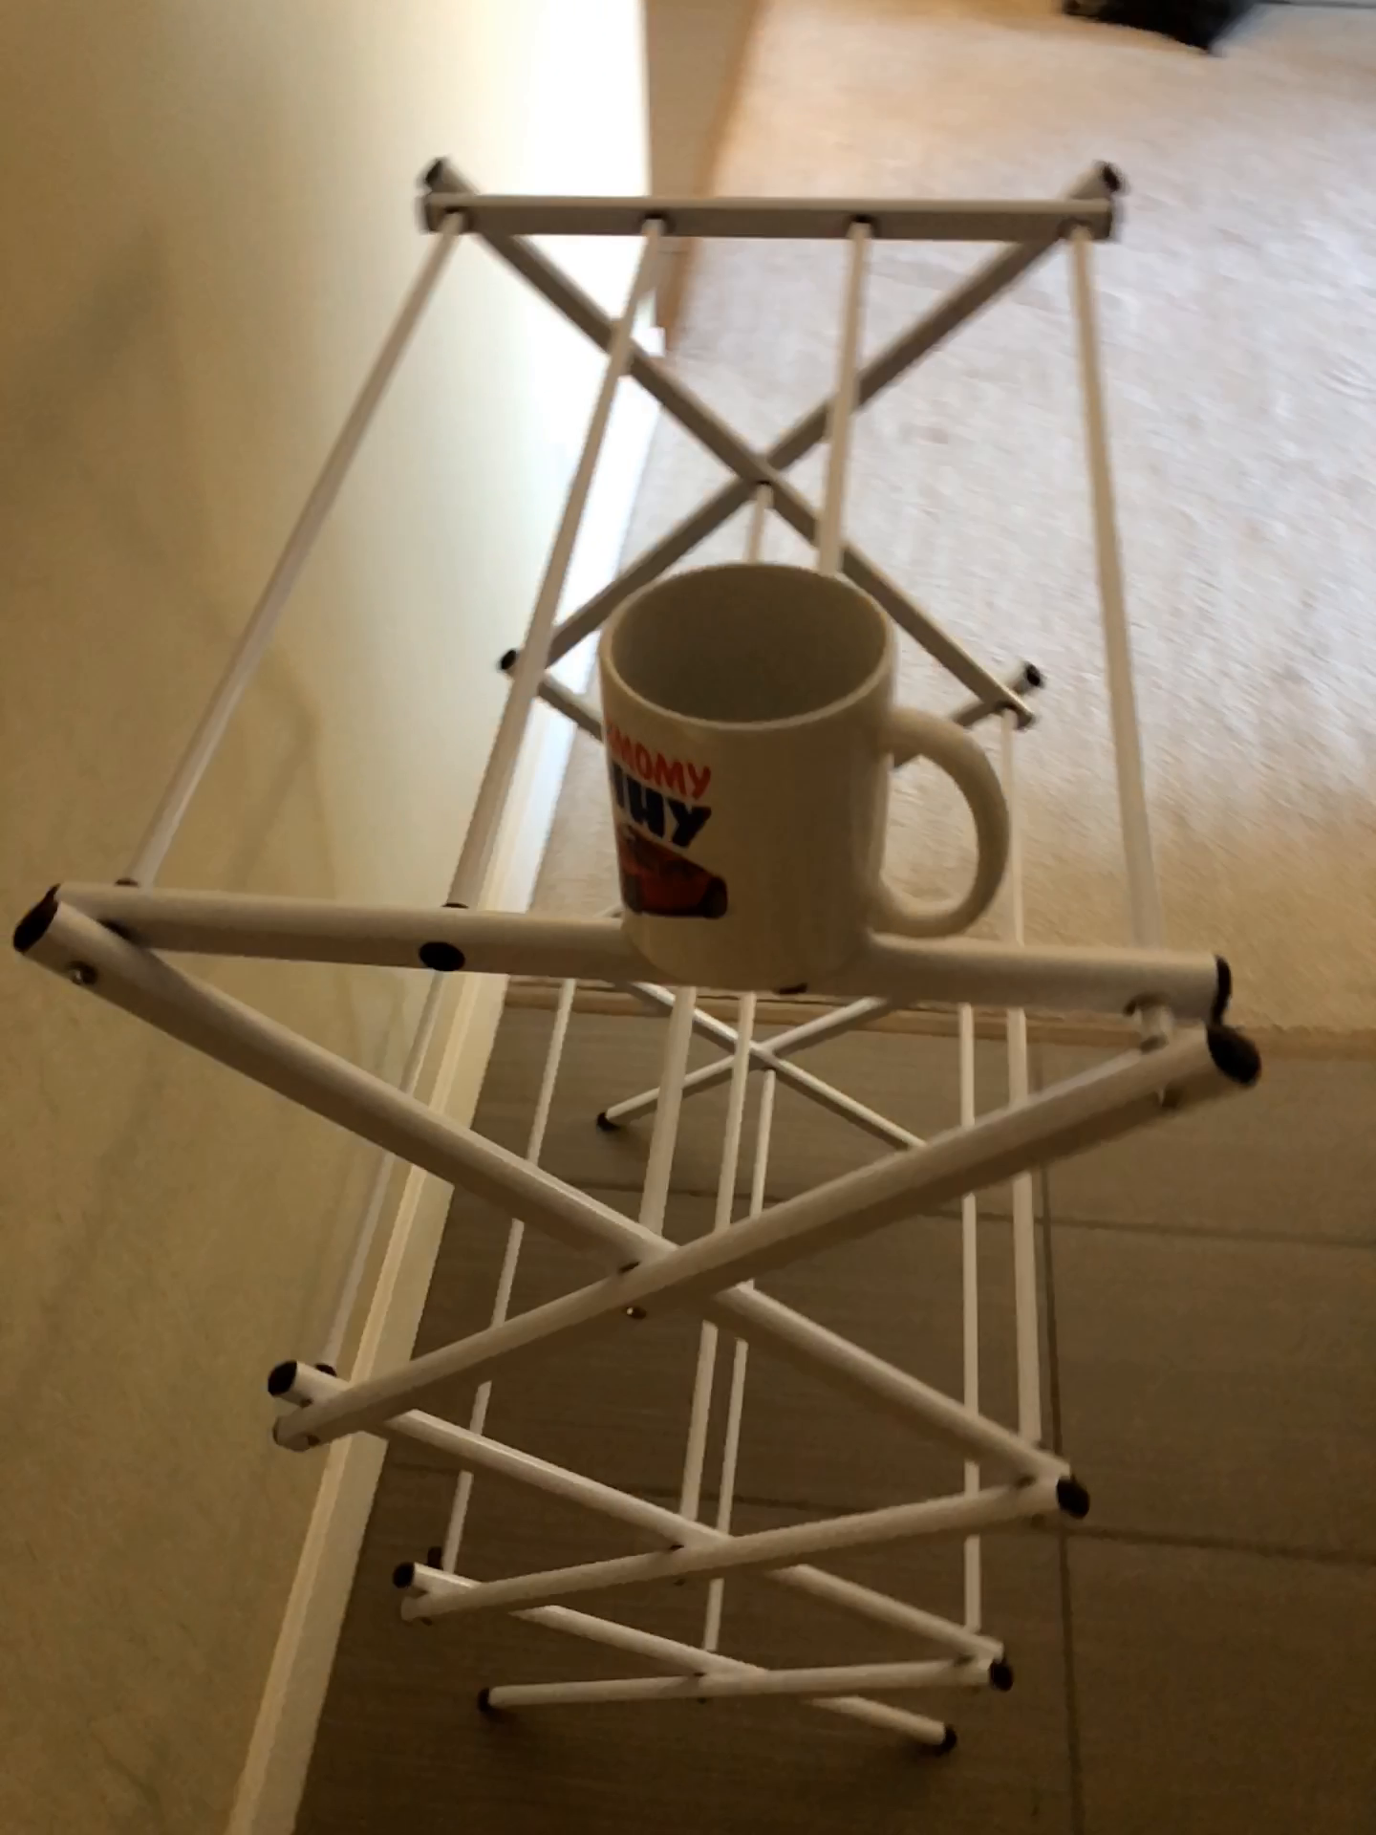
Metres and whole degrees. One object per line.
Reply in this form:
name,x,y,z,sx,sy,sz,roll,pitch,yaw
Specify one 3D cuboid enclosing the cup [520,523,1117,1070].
cup,0.038,-0.038,0.427,0.130,0.090,0.090,17,47,22
